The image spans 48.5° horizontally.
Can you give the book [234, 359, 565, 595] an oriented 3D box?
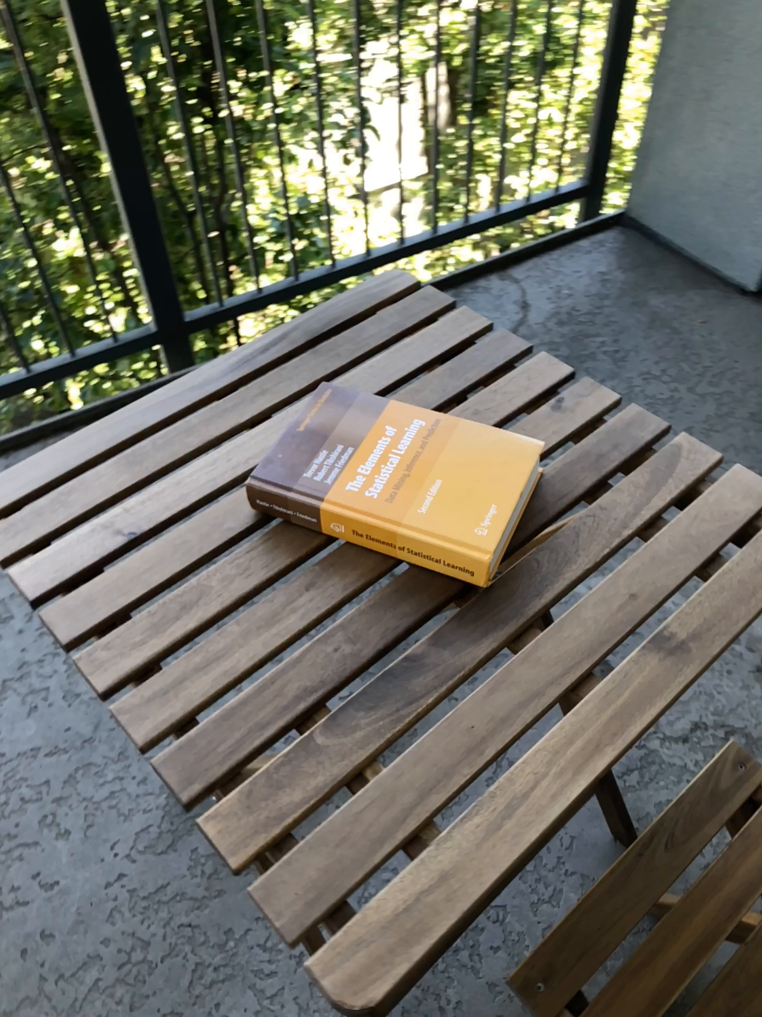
[{"bbox_3d":[0.020,-0.040,0.787,0.250,0.040,0.180,19,51,18],"label":"book"}]
